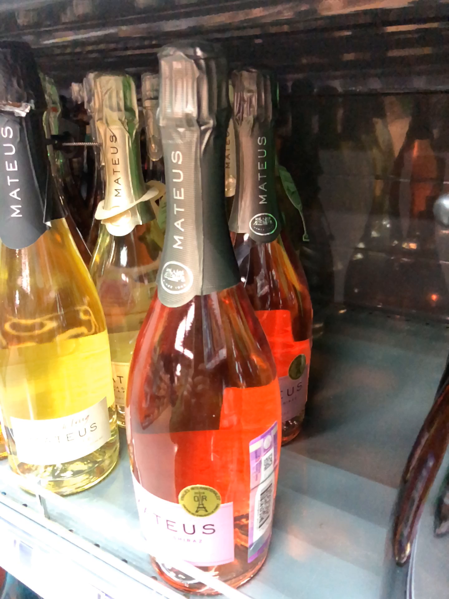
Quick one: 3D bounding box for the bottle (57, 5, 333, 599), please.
[{"bbox_3d":[-0.009,0.022,0.292,0.100,0.319,0.090,11,22,30],"label":"bottle"}]
